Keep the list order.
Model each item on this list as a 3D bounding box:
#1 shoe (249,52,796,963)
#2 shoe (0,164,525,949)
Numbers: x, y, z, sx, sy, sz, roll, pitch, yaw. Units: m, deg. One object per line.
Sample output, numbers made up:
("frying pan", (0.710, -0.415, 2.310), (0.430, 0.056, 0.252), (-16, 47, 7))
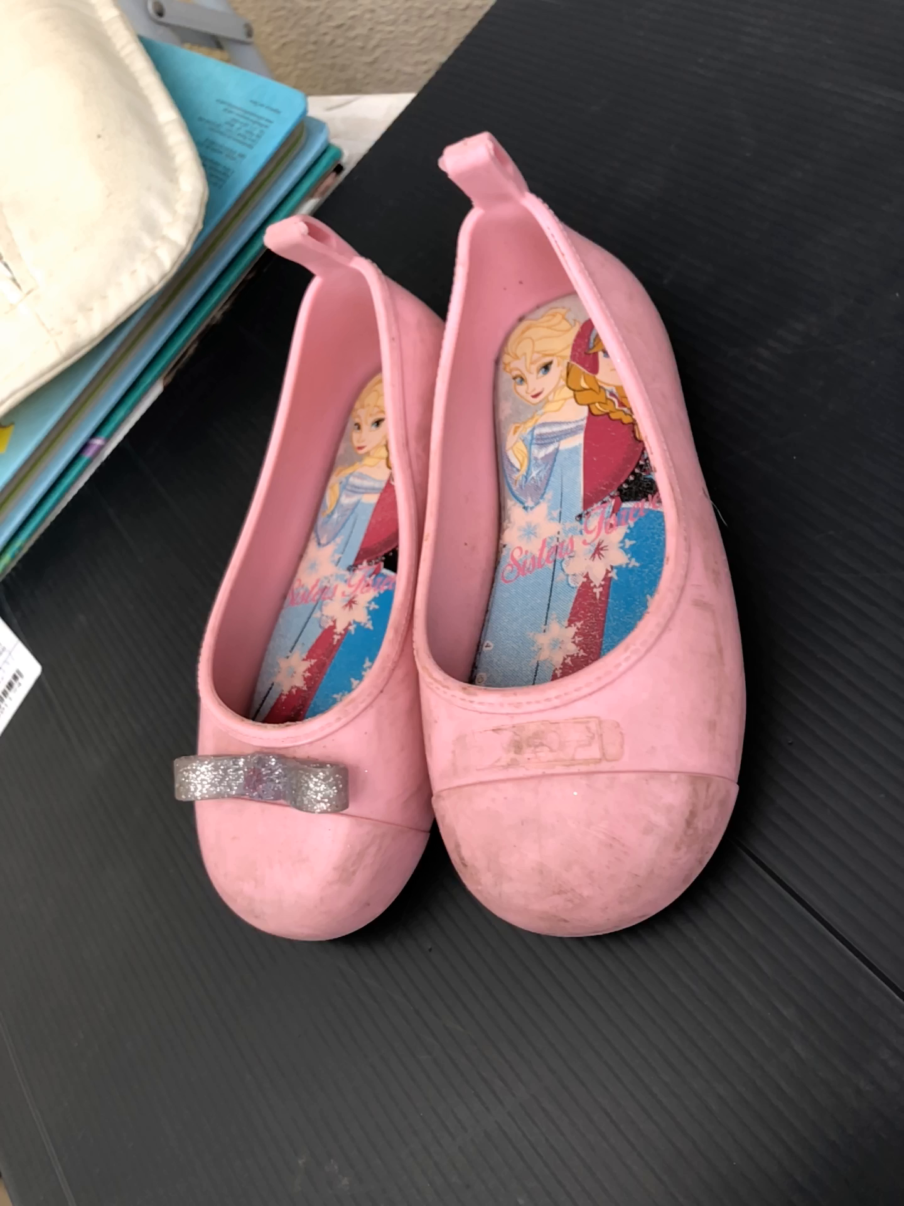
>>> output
("shoe", (0.020, -0.013, 0.209), (0.078, 0.070, 0.160), (-7, 68, 26))
("shoe", (-0.041, -0.008, 0.243), (0.078, 0.070, 0.160), (0, 71, 28))
